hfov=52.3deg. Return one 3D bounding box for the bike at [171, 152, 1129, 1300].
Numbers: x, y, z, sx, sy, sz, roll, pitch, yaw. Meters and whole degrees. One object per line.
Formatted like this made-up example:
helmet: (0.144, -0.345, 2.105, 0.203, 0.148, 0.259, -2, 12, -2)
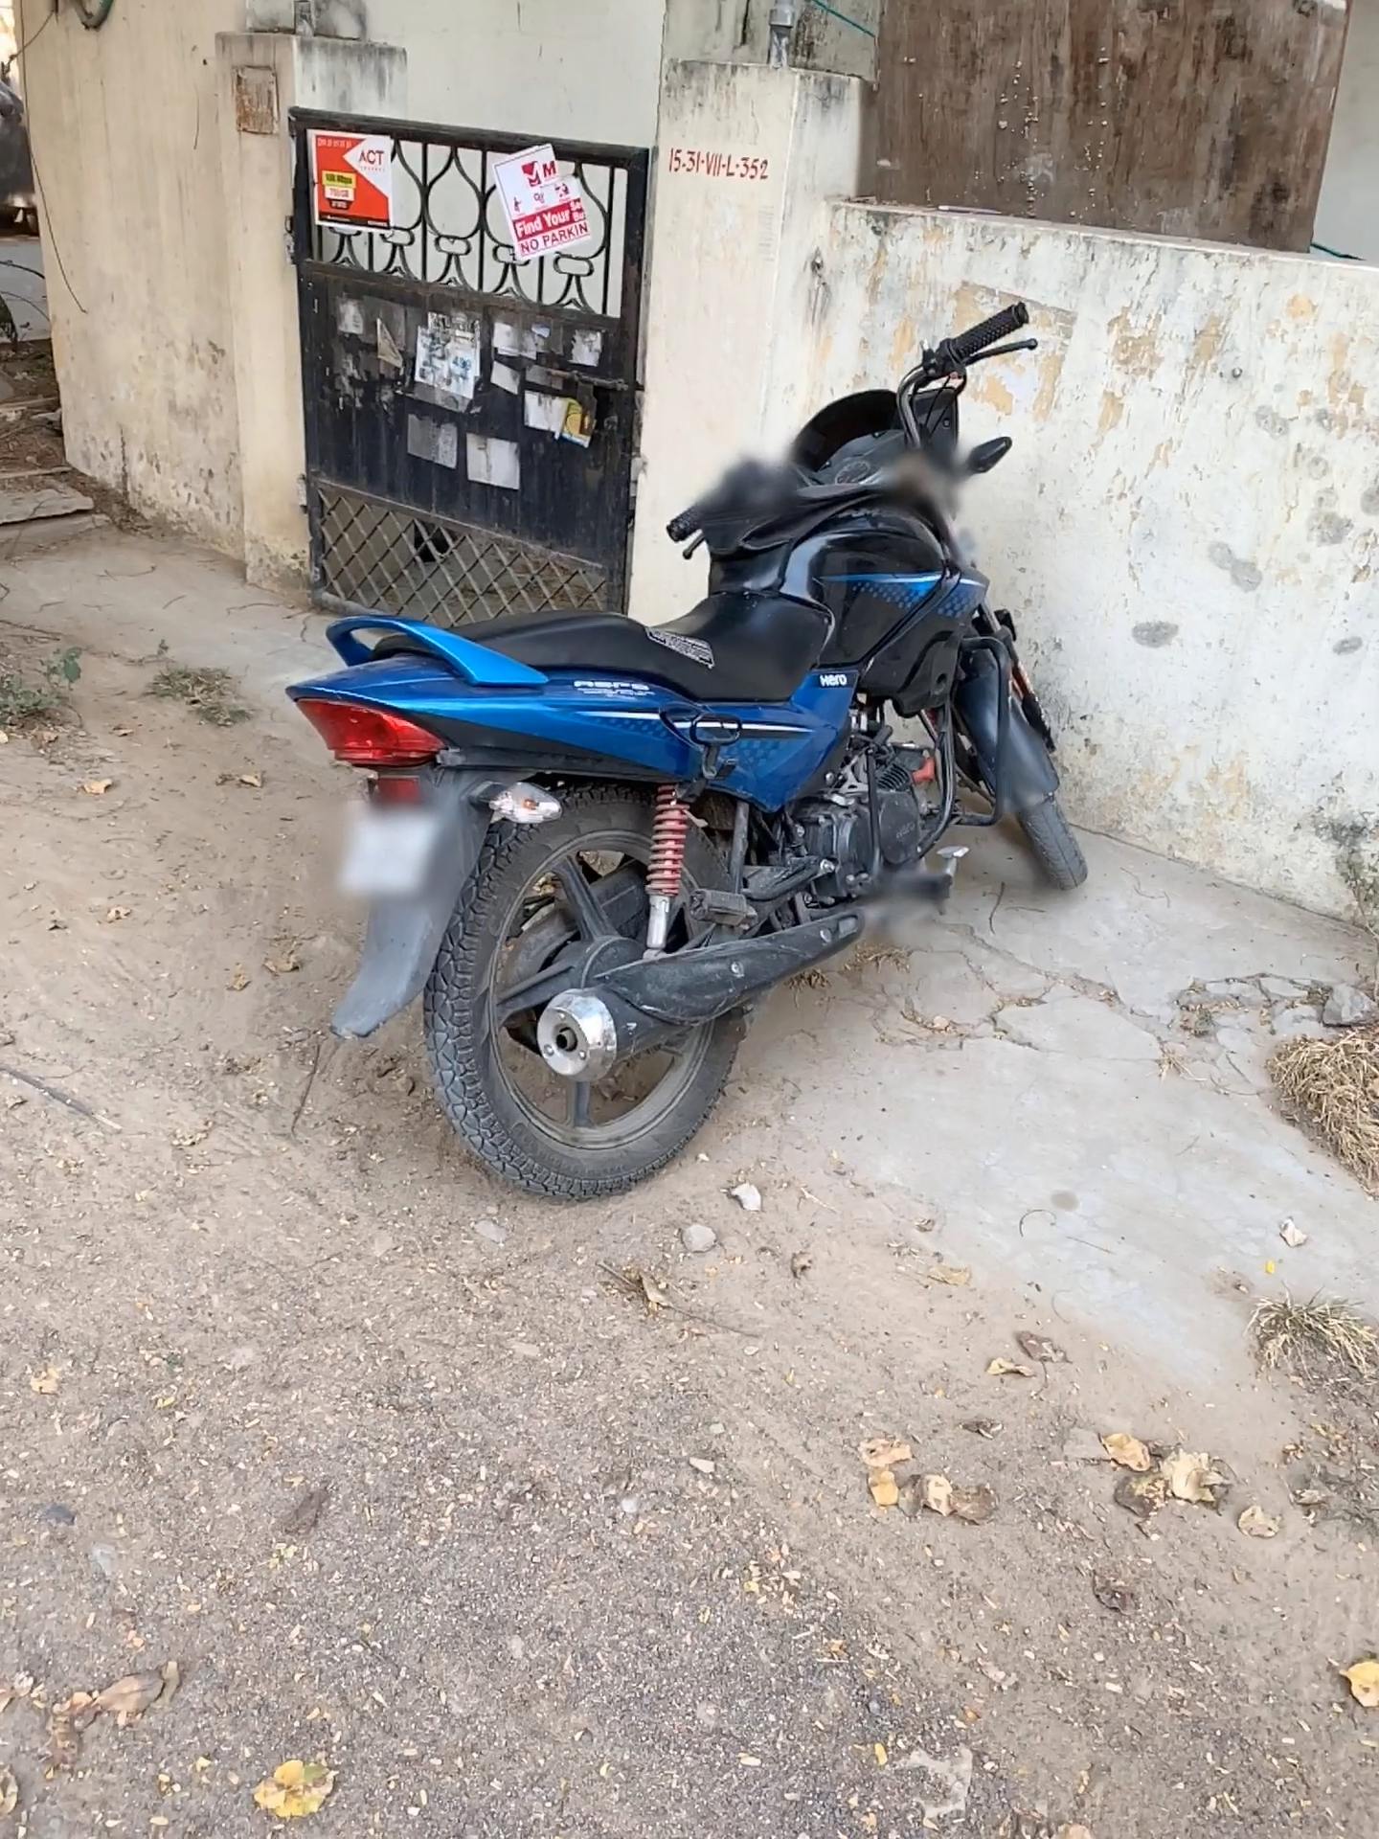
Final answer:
bike: (0.019, -0.554, 2.481, 0.755, 1.233, 1.710, 21, 36, 26)
